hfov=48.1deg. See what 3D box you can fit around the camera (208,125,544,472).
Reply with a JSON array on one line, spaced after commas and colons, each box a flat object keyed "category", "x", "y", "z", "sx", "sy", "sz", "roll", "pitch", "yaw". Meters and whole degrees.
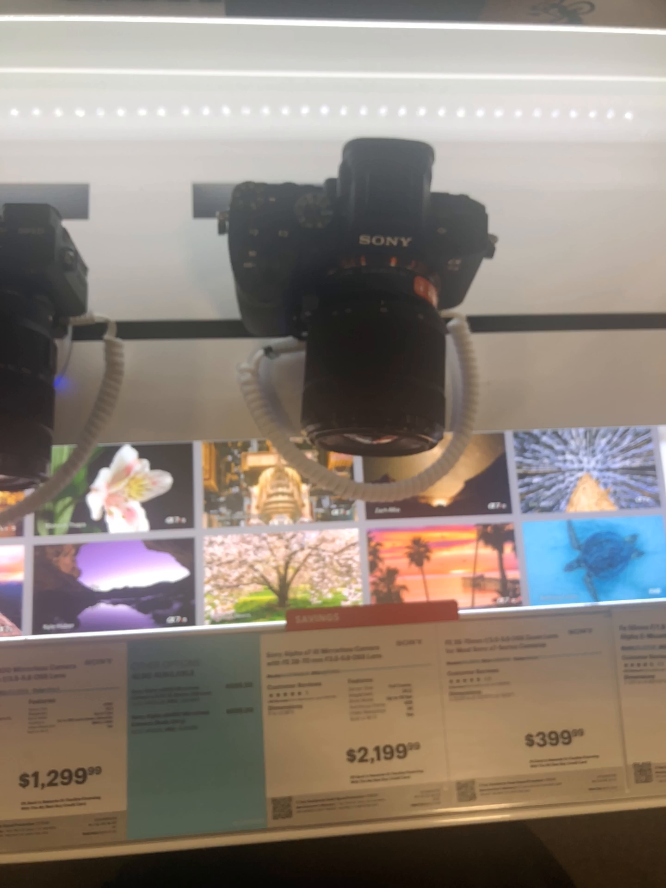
[{"category": "camera", "x": 0.013, "y": -0.063, "z": 0.365, "sx": 0.140, "sy": 0.090, "sz": 0.140, "roll": 0, "pitch": 79, "yaw": -6}]
